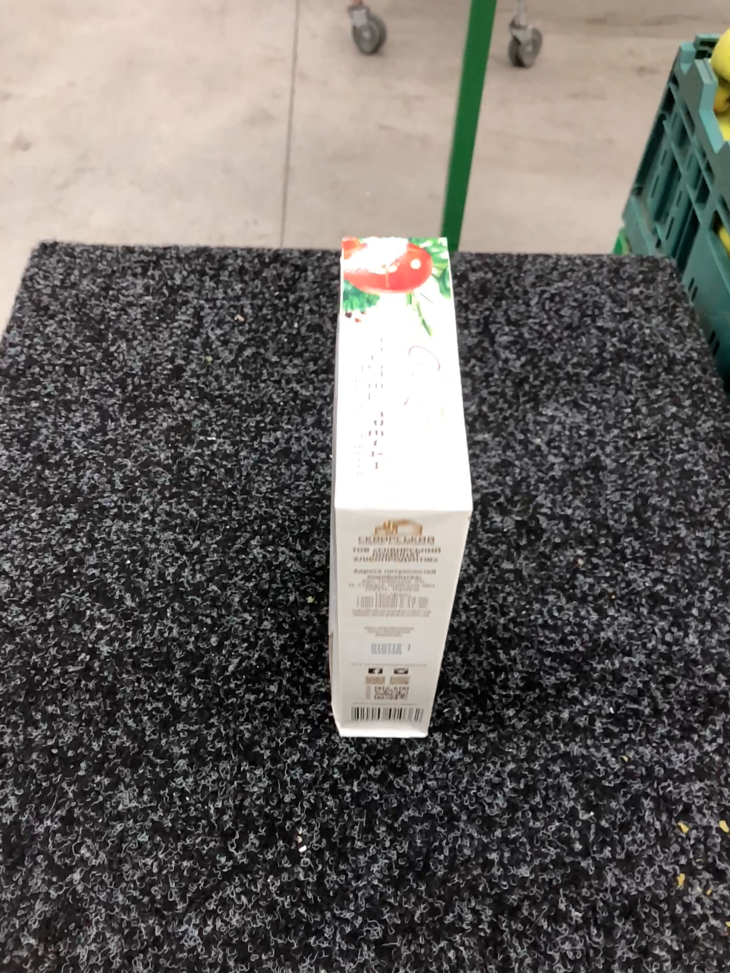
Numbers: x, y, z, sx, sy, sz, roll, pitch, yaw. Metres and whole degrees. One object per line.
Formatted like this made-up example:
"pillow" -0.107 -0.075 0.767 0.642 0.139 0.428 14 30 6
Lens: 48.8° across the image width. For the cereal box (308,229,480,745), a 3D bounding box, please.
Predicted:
"cereal box" 0.009 0.015 0.425 0.060 0.238 0.161 1 53 -1
